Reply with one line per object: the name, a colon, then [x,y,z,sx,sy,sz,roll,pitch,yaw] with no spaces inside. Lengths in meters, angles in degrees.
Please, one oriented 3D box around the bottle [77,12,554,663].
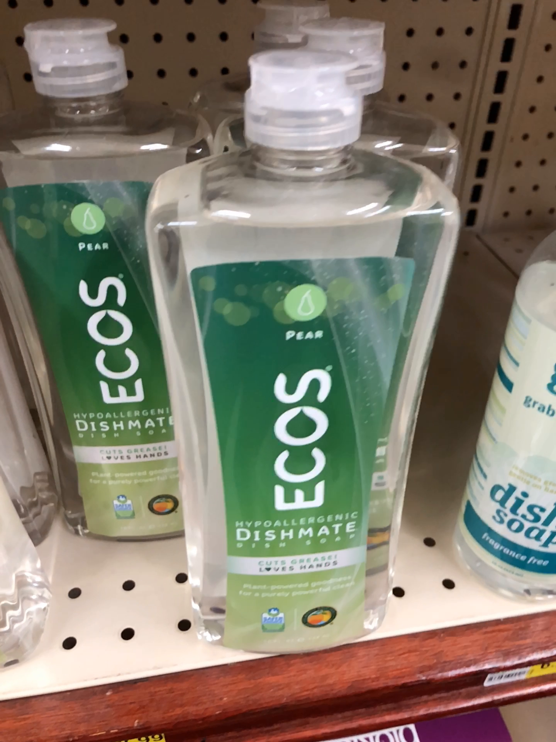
bottle: [0.005,0.013,0.209,0.092,0.226,0.050,-3,39,-5]
